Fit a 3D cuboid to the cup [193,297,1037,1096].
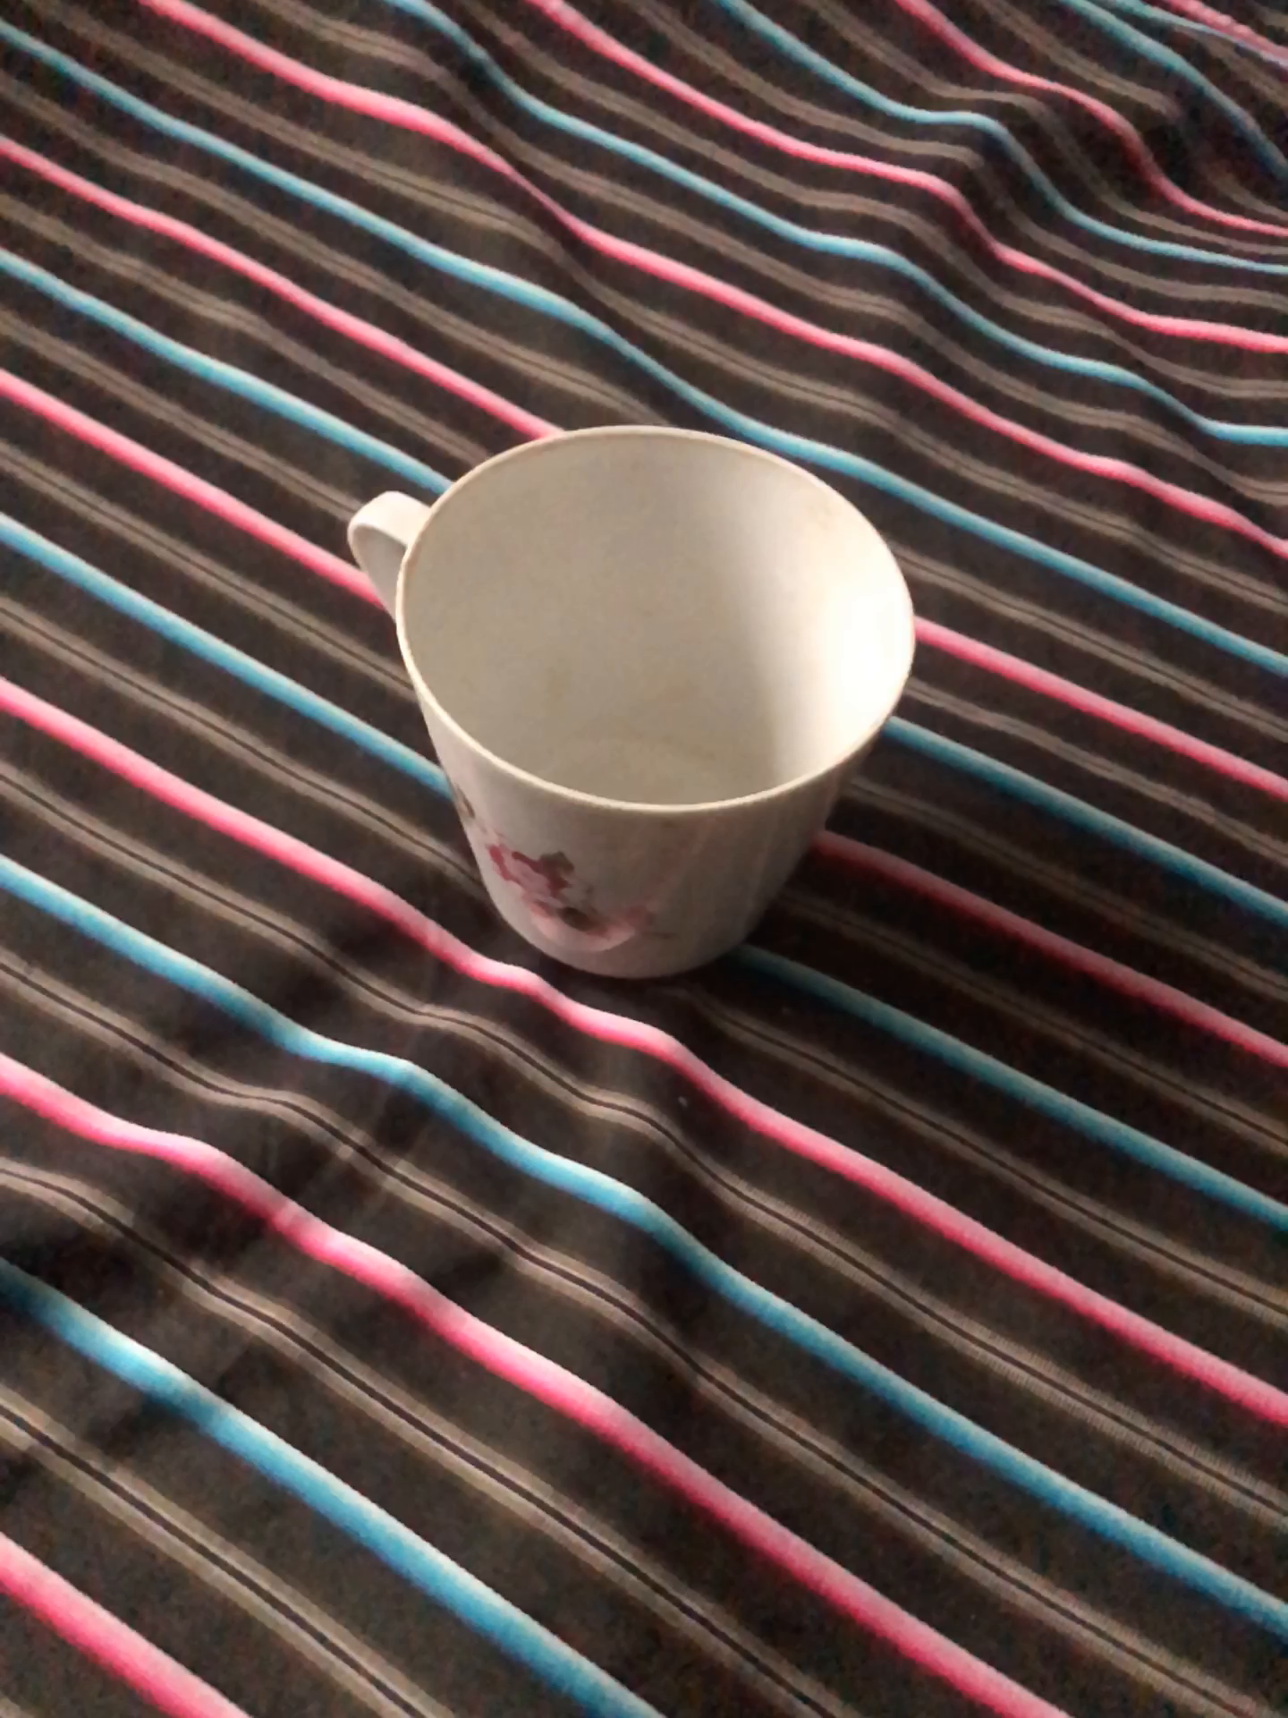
[{"bbox_3d":[-0.005,-0.028,0.224,0.094,0.049,0.073,39,64,20],"label":"cup"}]
